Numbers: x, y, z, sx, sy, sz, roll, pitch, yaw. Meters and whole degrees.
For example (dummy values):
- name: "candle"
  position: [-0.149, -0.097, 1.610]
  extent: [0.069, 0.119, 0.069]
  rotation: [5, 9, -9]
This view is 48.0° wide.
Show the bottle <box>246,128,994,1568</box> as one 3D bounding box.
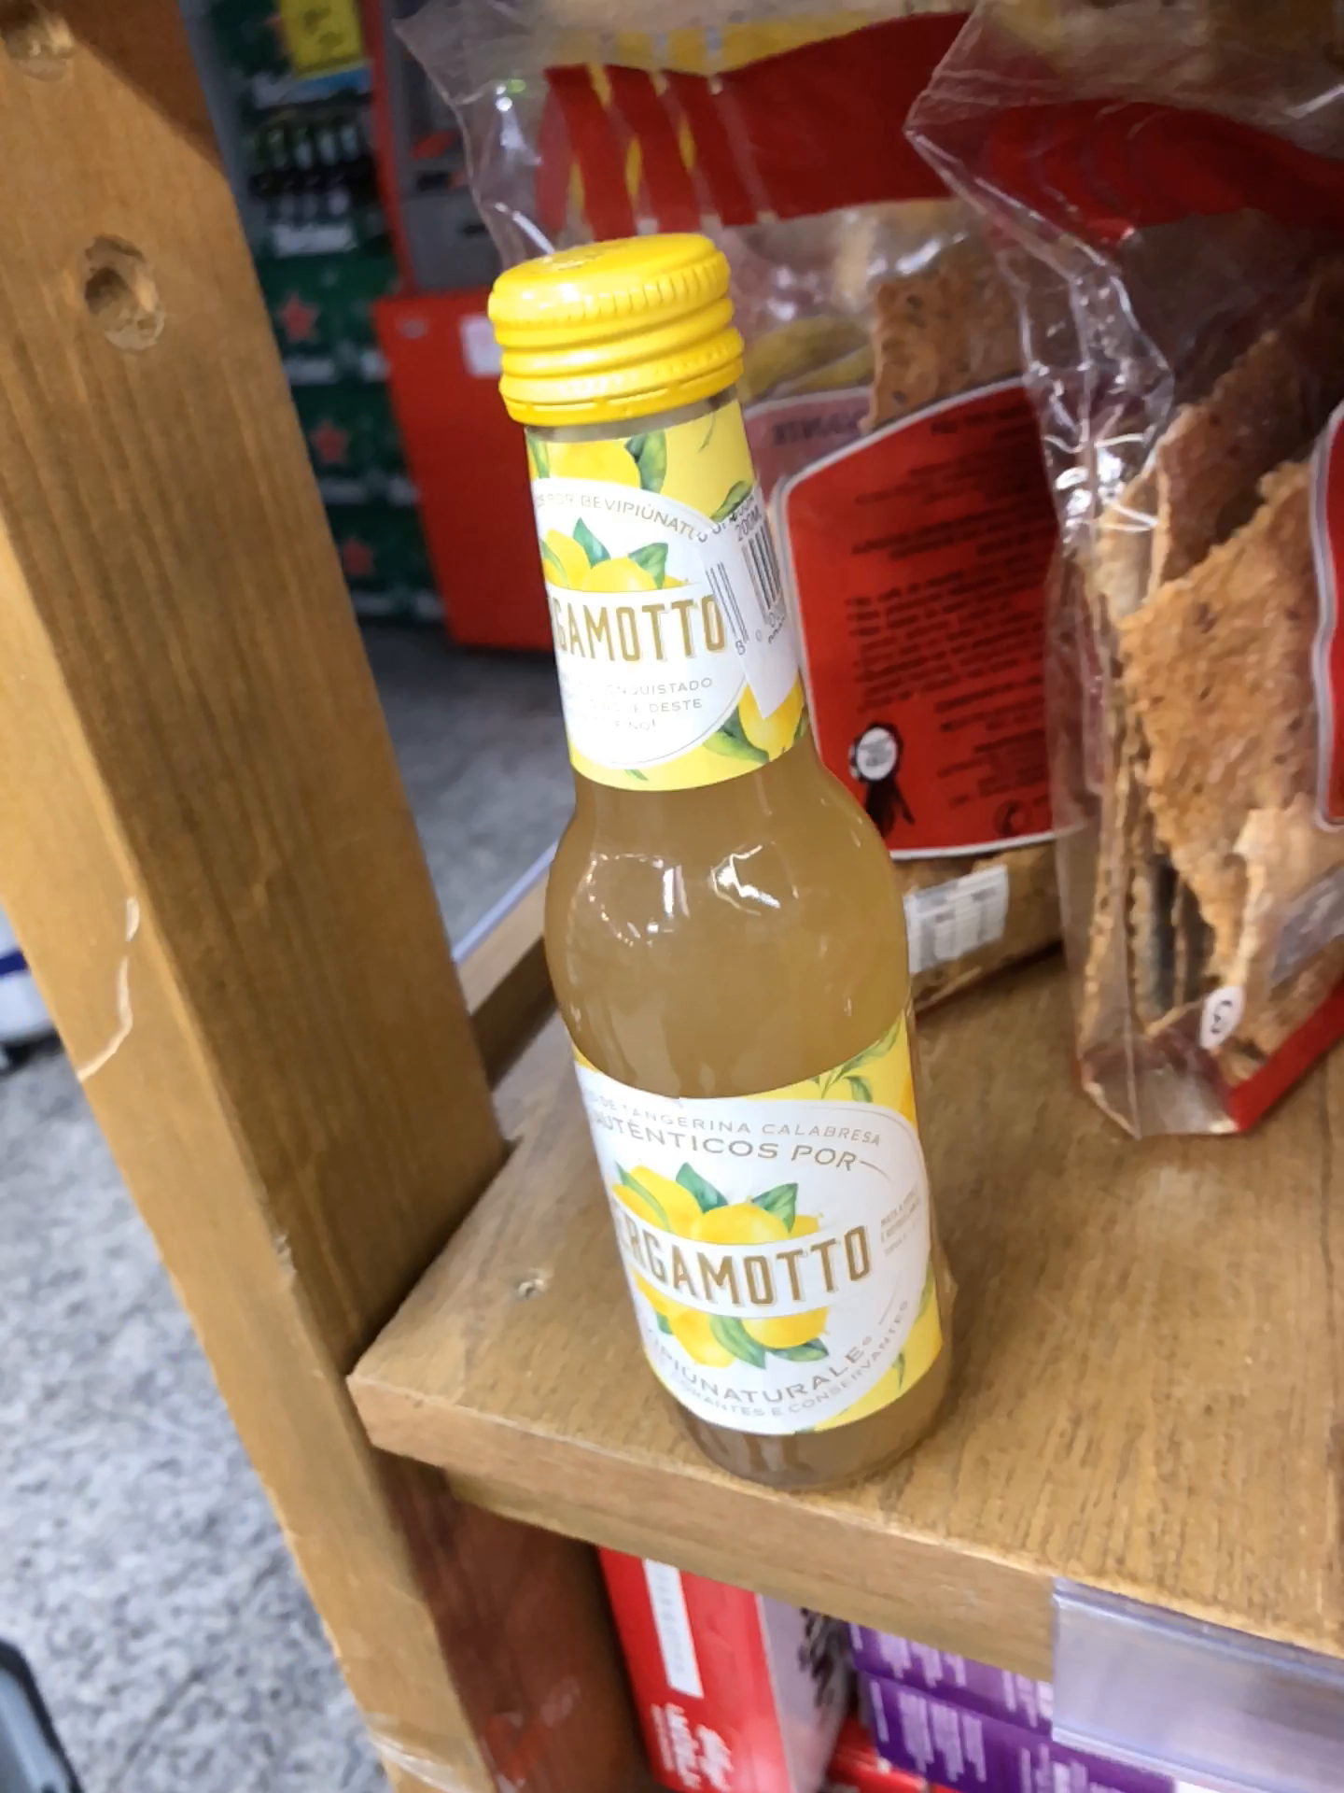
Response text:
- name: "bottle"
  position: [0.007, 0.003, 0.225]
  extent: [0.060, 0.198, 0.060]
  rotation: [-7, 30, 4]
